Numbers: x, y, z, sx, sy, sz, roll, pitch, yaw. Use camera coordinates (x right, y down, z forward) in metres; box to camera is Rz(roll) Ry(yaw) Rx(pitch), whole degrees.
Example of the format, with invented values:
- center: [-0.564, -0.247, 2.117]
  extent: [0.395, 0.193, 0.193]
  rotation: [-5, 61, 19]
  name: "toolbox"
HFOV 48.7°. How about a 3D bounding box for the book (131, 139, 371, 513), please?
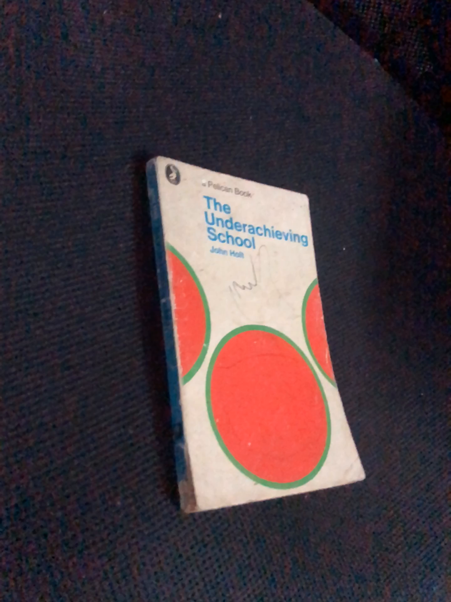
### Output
- center: [0.014, 0.009, 0.275]
  extent: [0.121, 0.020, 0.182]
  rotation: [6, 67, -36]
  name: "book"
